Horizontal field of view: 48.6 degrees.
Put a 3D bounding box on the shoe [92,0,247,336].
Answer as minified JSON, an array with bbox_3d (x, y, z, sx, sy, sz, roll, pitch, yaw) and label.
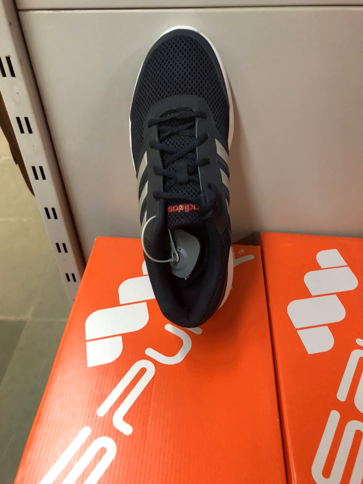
[{"bbox_3d":[-0.003,-0.061,0.373,0.110,0.271,0.088,-3,3,8],"label":"shoe"}]
